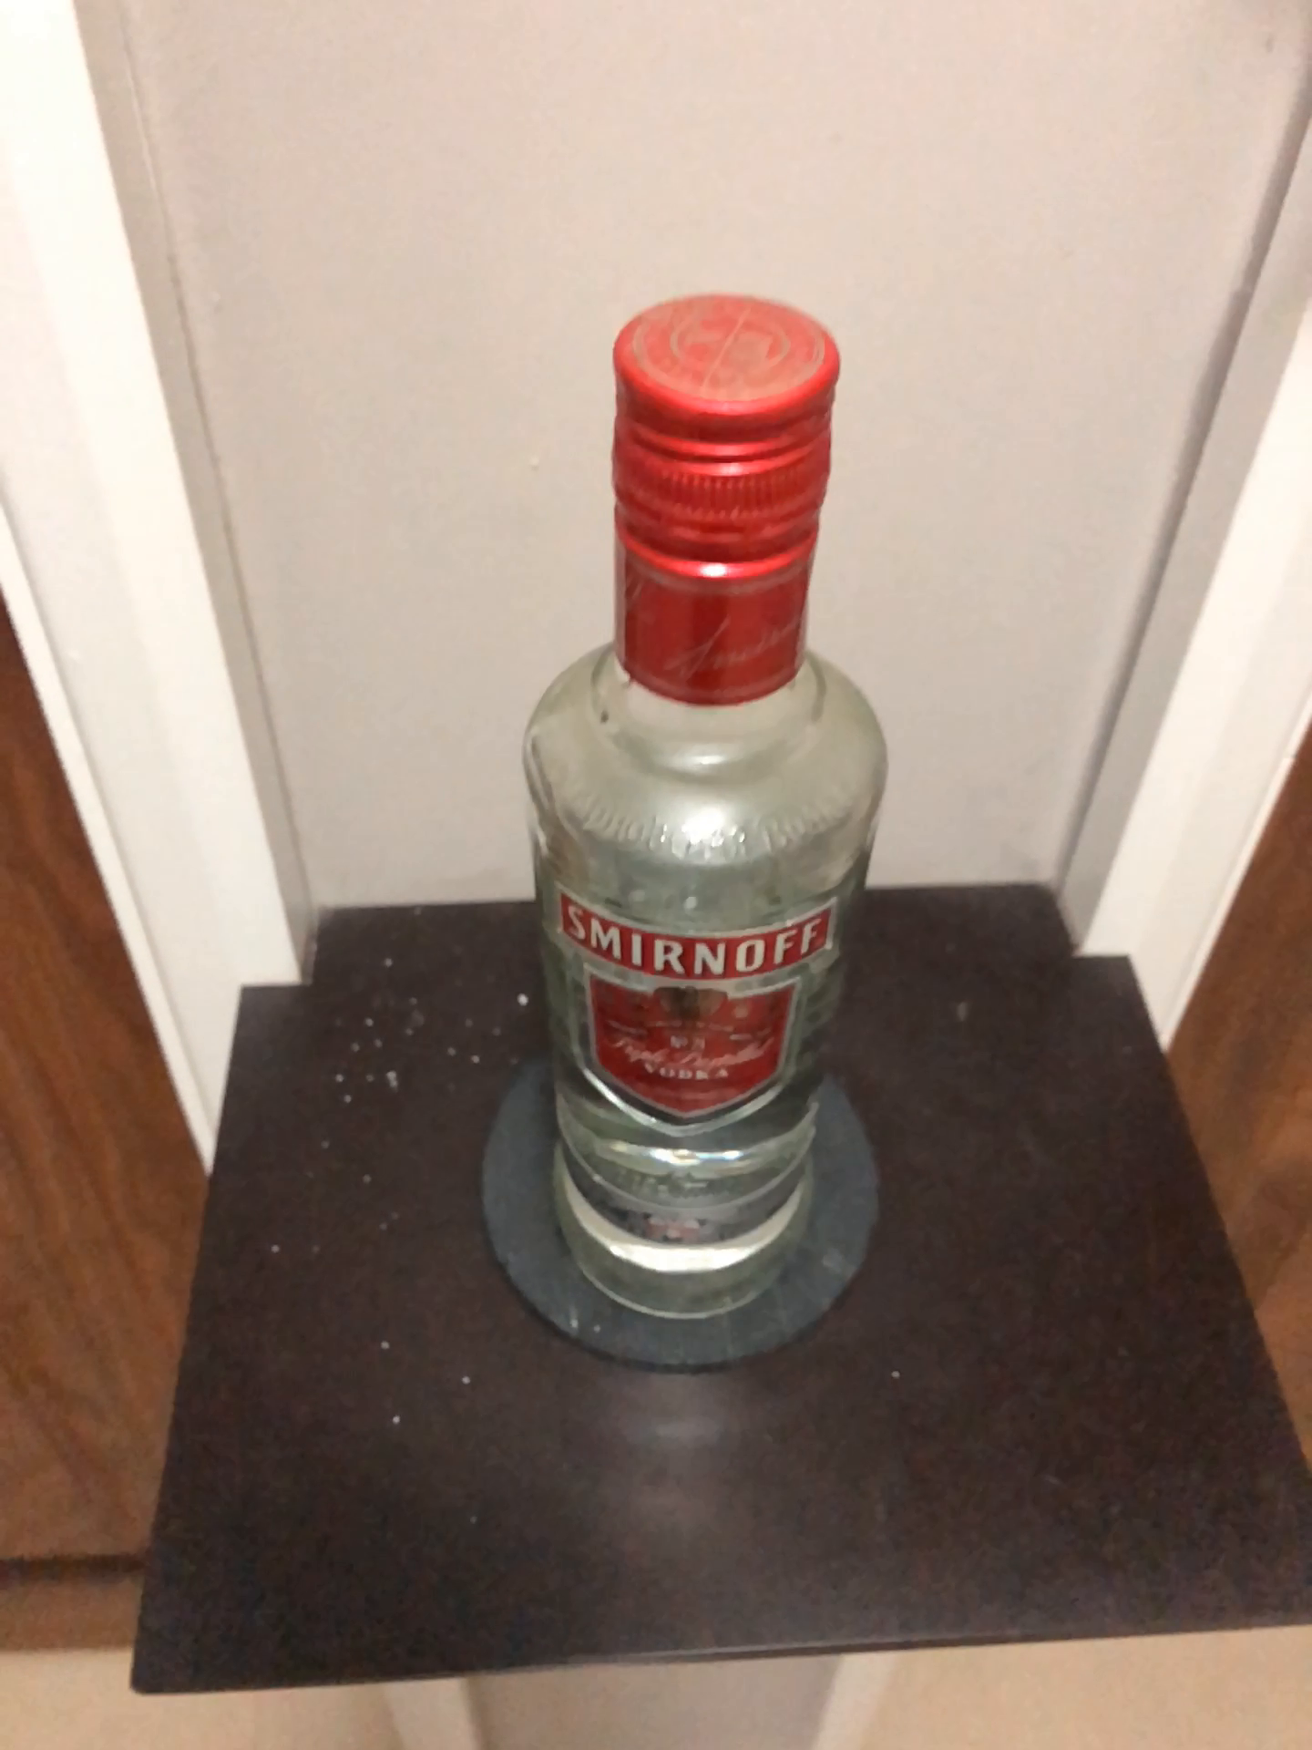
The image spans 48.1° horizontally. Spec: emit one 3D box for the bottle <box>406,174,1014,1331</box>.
[{"bbox_3d":[0.006,-0.001,0.273,0.070,0.218,0.071,1,46,-1],"label":"bottle"}]
